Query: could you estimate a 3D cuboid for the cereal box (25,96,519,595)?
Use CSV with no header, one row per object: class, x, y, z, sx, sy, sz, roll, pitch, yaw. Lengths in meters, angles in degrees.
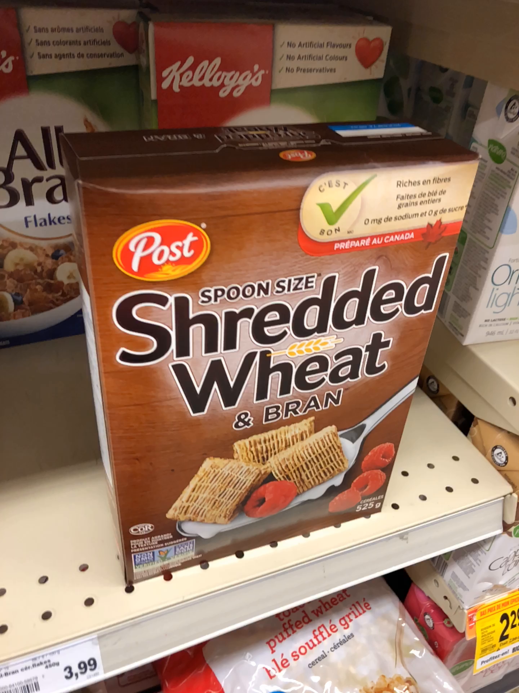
cereal box,0.006,0.005,0.317,0.210,0.248,0.071,-10,38,-19
